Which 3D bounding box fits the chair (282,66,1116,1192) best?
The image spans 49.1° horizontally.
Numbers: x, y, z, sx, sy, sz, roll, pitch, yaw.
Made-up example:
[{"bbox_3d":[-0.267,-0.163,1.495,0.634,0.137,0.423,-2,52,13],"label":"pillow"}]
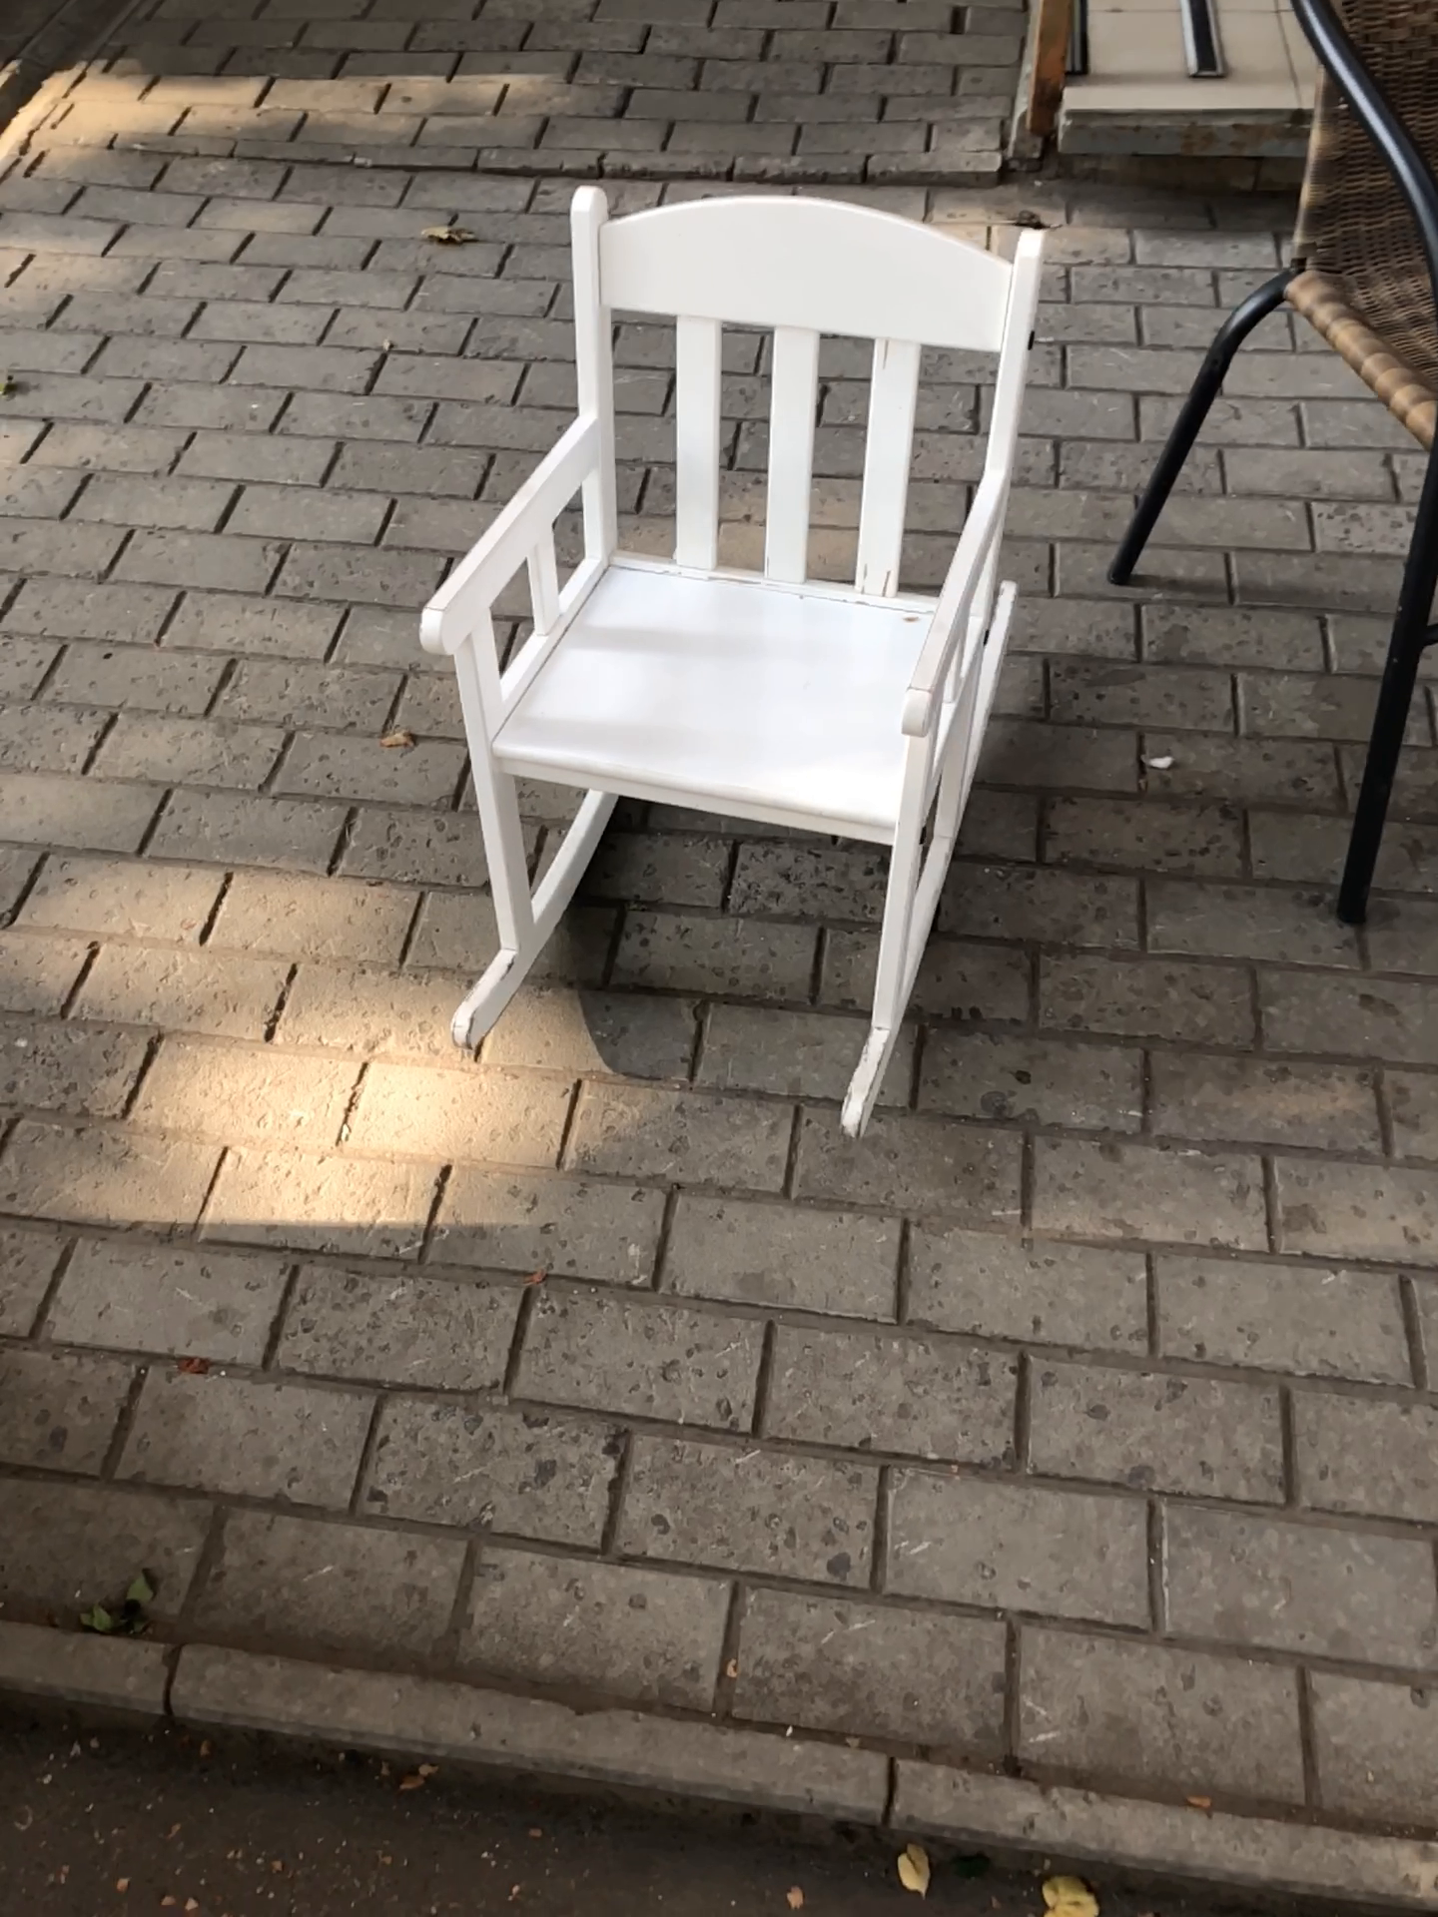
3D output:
[{"bbox_3d":[0.044,-0.292,1.295,0.380,0.518,0.732,12,52,12],"label":"chair"}]
